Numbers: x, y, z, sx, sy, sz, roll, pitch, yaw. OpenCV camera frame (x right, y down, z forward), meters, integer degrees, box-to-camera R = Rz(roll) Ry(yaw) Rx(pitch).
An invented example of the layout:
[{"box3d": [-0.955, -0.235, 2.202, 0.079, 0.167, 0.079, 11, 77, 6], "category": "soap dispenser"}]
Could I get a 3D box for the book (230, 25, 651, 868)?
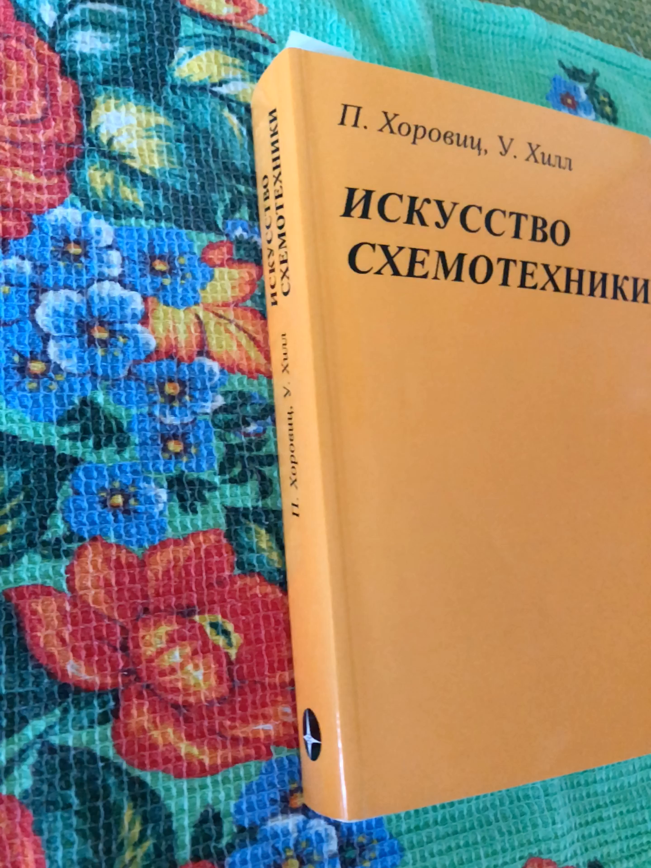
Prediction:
[{"box3d": [0.066, -0.006, 0.270, 0.181, 0.050, 0.260, 2, 72, -24], "category": "book"}]
